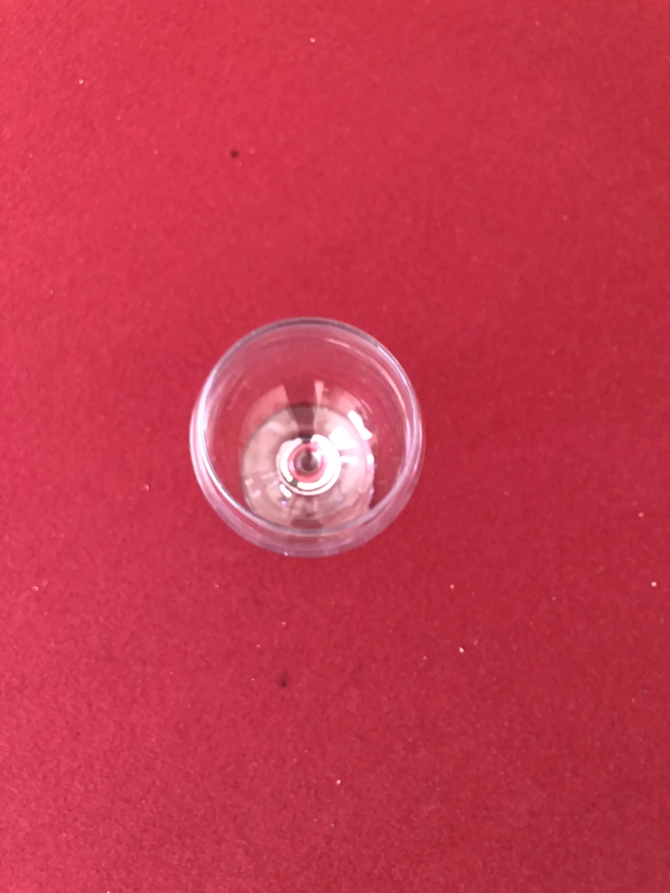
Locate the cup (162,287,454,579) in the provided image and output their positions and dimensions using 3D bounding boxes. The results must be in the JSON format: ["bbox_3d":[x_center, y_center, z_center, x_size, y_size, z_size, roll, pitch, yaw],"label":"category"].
[{"bbox_3d":[-0.010,0.006,0.287,0.070,0.130,0.070,1,79,-3],"label":"cup"}]
